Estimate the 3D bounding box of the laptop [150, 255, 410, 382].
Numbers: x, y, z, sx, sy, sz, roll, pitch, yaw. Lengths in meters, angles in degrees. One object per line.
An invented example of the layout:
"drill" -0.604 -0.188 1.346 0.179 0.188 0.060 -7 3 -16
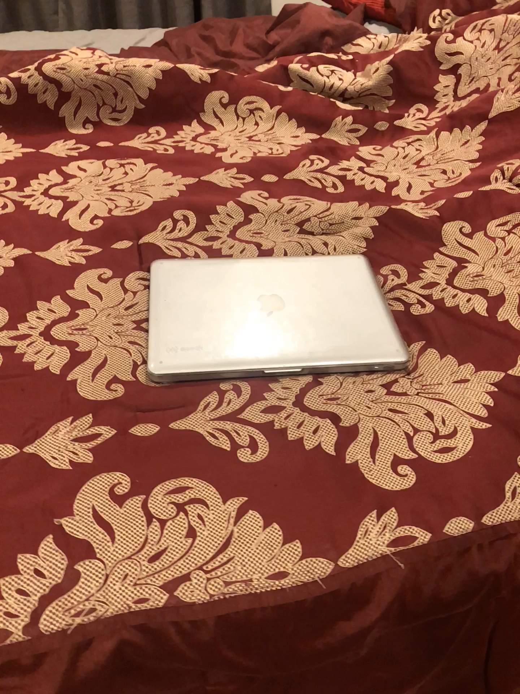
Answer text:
"laptop" 0.014 -0.046 0.742 0.304 0.015 0.208 -3 45 -6
